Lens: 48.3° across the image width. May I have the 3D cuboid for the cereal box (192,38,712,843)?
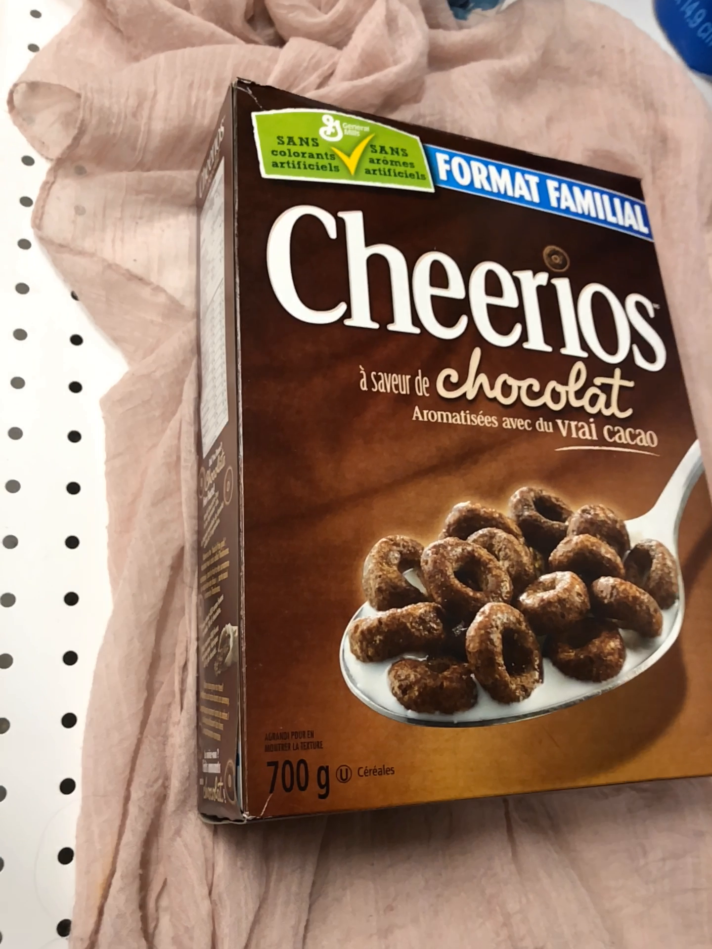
[{"bbox_3d":[0.046,-0.019,0.379,0.231,0.090,0.330,4,68,-21],"label":"cereal box"}]
